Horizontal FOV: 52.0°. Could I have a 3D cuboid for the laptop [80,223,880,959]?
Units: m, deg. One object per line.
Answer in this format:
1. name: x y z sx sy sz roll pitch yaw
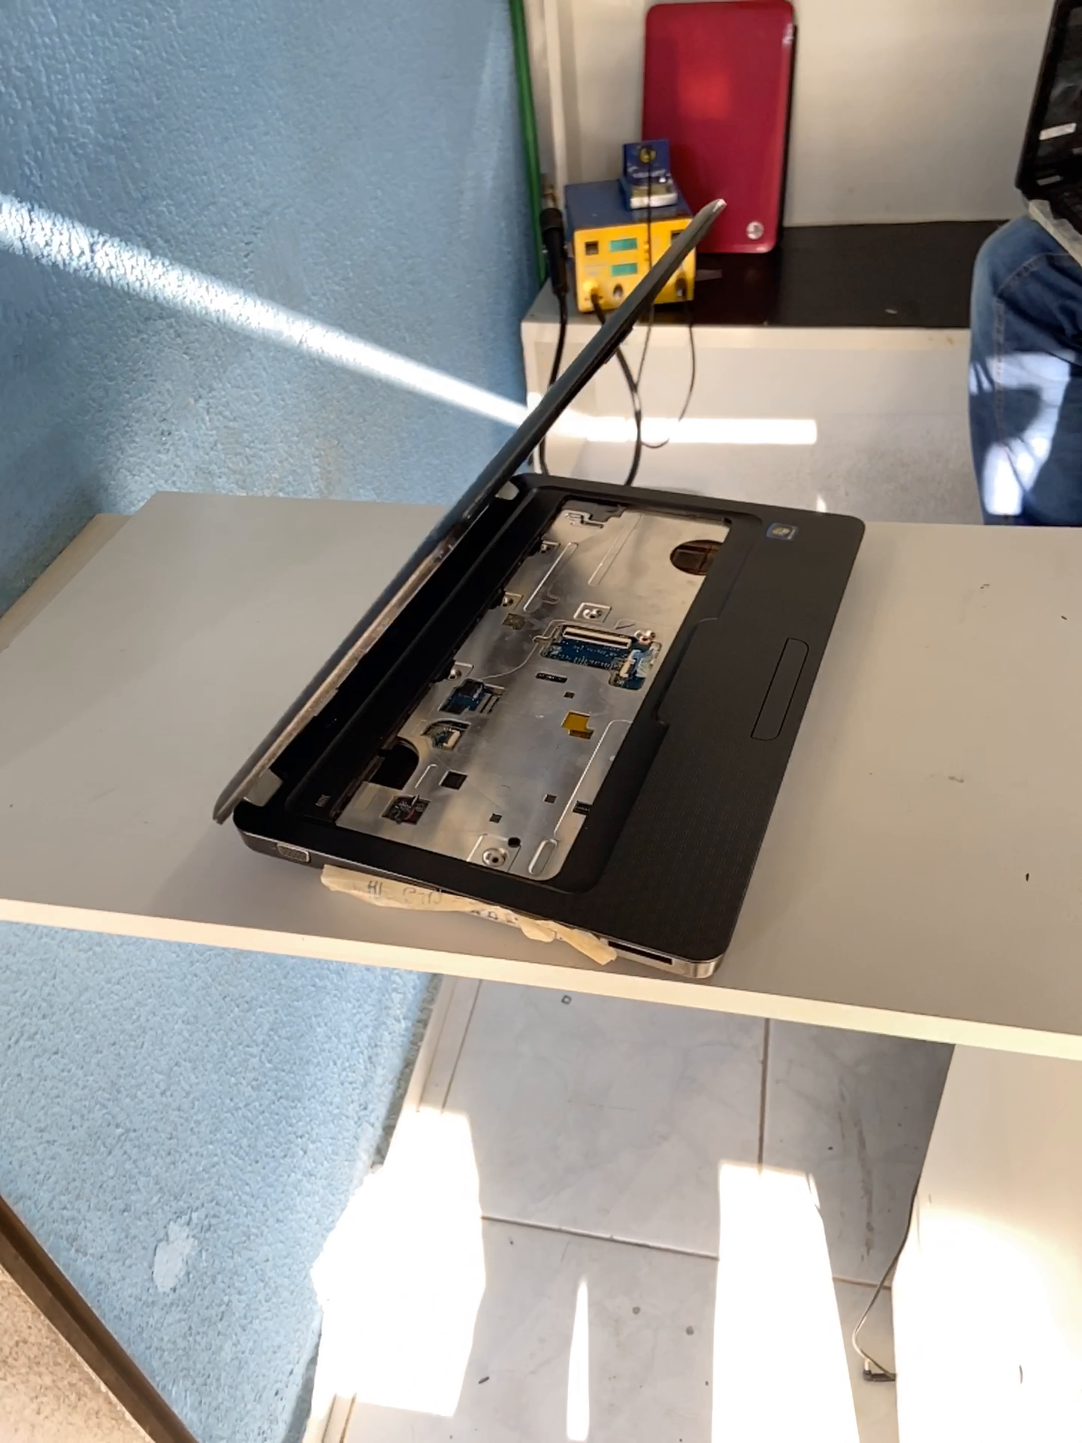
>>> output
1. laptop: 0.011 -0.094 0.510 0.222 0.153 0.328 11 42 19
